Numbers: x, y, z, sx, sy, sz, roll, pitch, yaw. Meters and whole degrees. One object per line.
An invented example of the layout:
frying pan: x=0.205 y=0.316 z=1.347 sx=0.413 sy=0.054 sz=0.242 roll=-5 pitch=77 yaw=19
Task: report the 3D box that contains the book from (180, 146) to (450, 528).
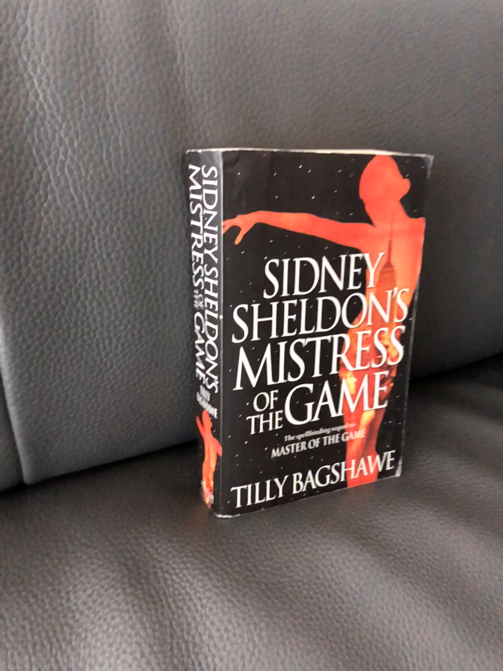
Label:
book: x=0.030 y=-0.004 z=0.292 sx=0.119 sy=0.179 sz=0.046 roll=-8 pitch=21 yaw=-22
